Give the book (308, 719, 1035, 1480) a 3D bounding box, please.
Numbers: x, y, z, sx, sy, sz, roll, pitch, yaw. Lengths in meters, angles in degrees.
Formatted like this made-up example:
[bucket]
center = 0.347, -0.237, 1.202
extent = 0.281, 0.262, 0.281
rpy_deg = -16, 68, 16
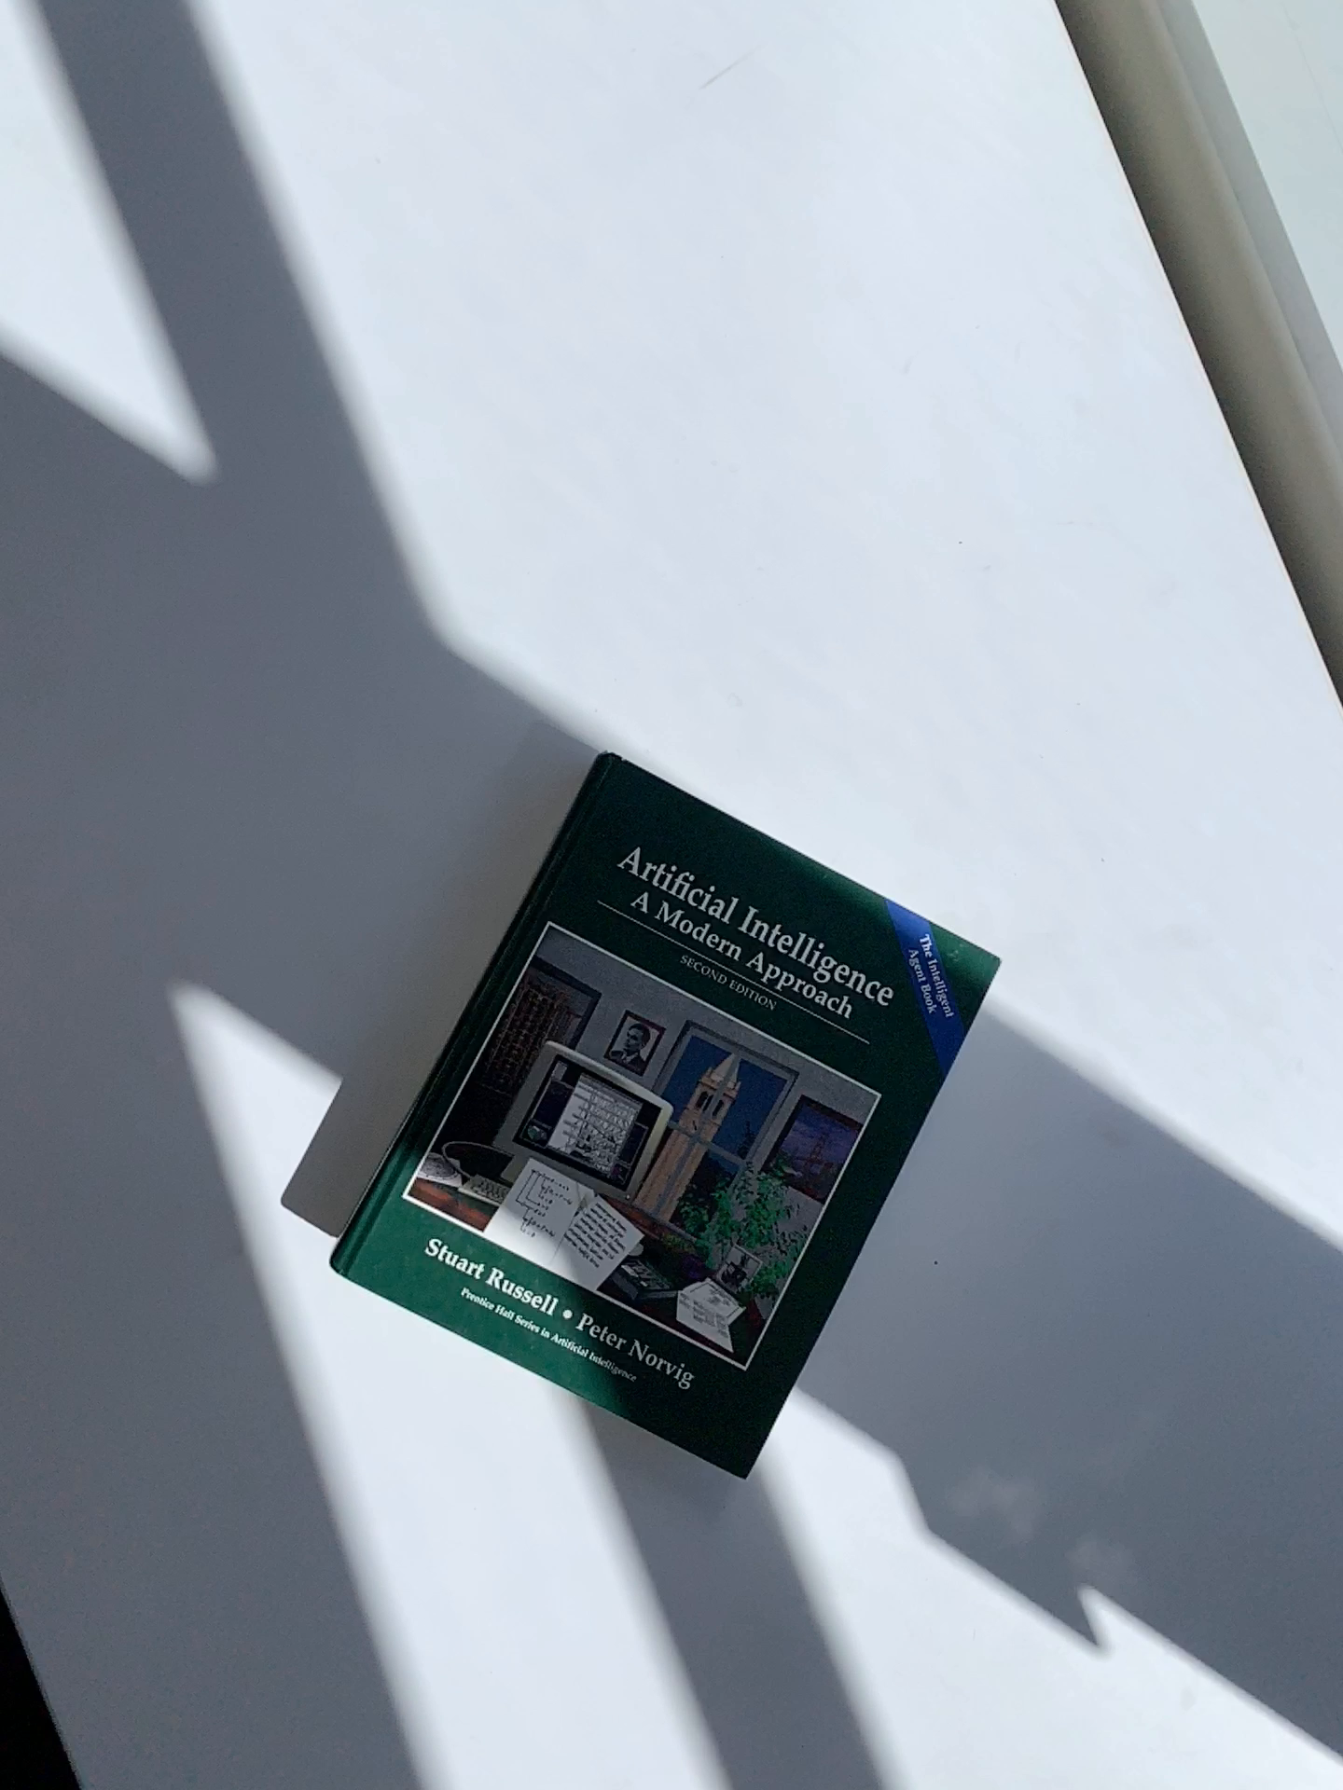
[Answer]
[book]
center = 0.002, 0.091, 0.635
extent = 0.230, 0.050, 0.260
rpy_deg = 28, 86, -3
